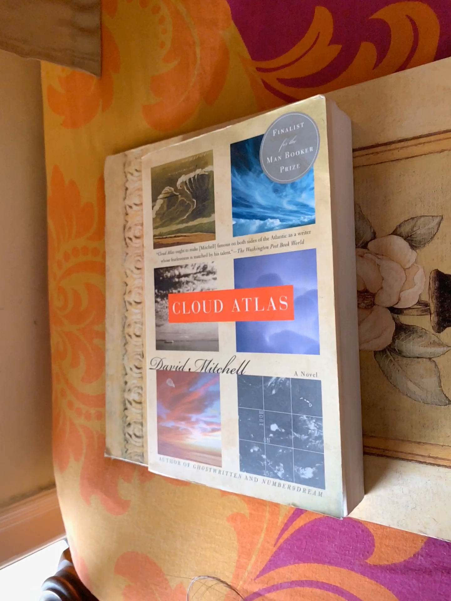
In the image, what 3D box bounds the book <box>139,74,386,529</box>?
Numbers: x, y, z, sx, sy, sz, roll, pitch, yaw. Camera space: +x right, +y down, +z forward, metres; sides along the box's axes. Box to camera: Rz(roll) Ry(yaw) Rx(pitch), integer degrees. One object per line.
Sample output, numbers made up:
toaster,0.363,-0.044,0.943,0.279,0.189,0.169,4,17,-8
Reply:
book,0.012,0.001,0.253,0.131,0.040,0.190,-3,87,40
